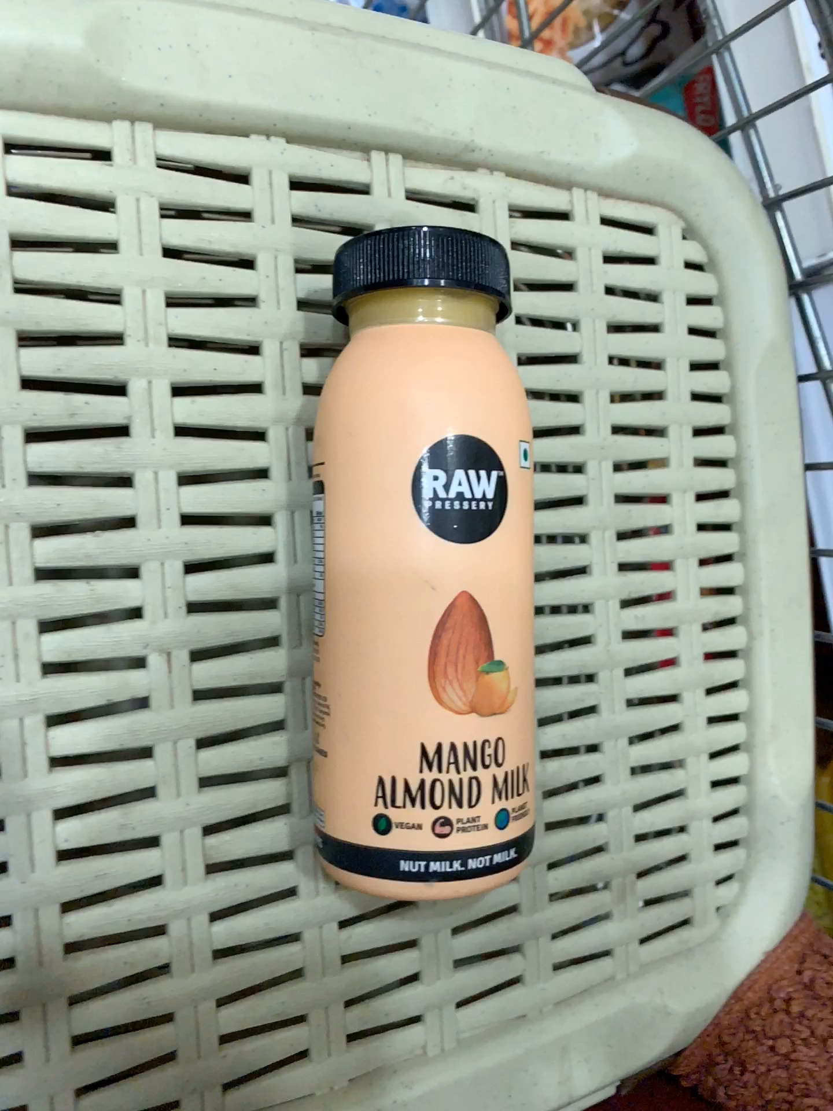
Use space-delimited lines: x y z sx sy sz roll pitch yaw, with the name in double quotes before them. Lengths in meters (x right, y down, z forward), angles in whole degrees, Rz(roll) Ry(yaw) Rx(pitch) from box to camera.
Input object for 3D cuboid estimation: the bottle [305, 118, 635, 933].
"bottle" 0.011 -0.005 0.192 0.060 0.040 0.150 0 90 -29
